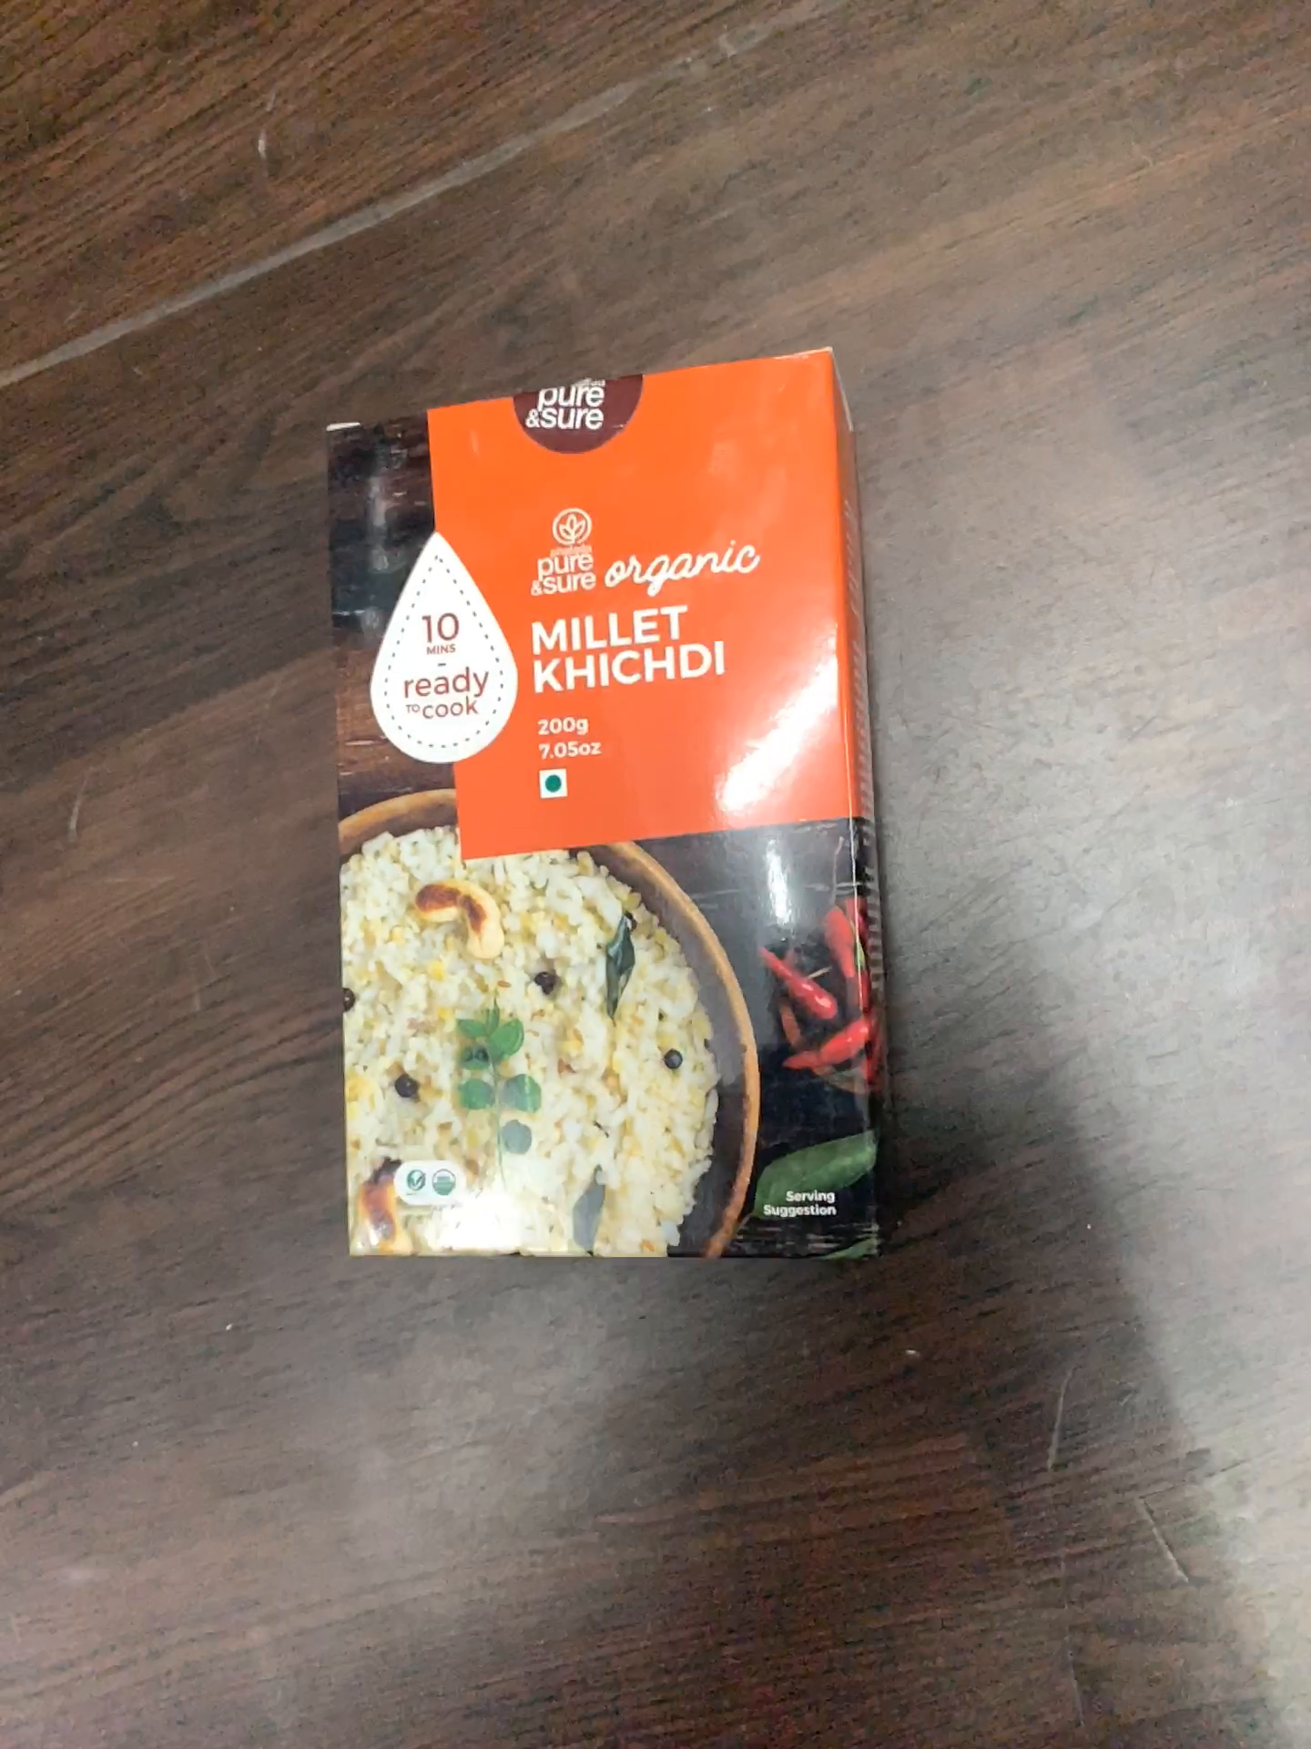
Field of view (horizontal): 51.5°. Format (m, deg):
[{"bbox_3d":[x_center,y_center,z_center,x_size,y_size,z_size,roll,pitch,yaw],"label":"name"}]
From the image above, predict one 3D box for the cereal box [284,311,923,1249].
[{"bbox_3d":[-0.011,-0.013,0.263,0.110,0.040,0.160,-4,85,16],"label":"cereal box"}]
